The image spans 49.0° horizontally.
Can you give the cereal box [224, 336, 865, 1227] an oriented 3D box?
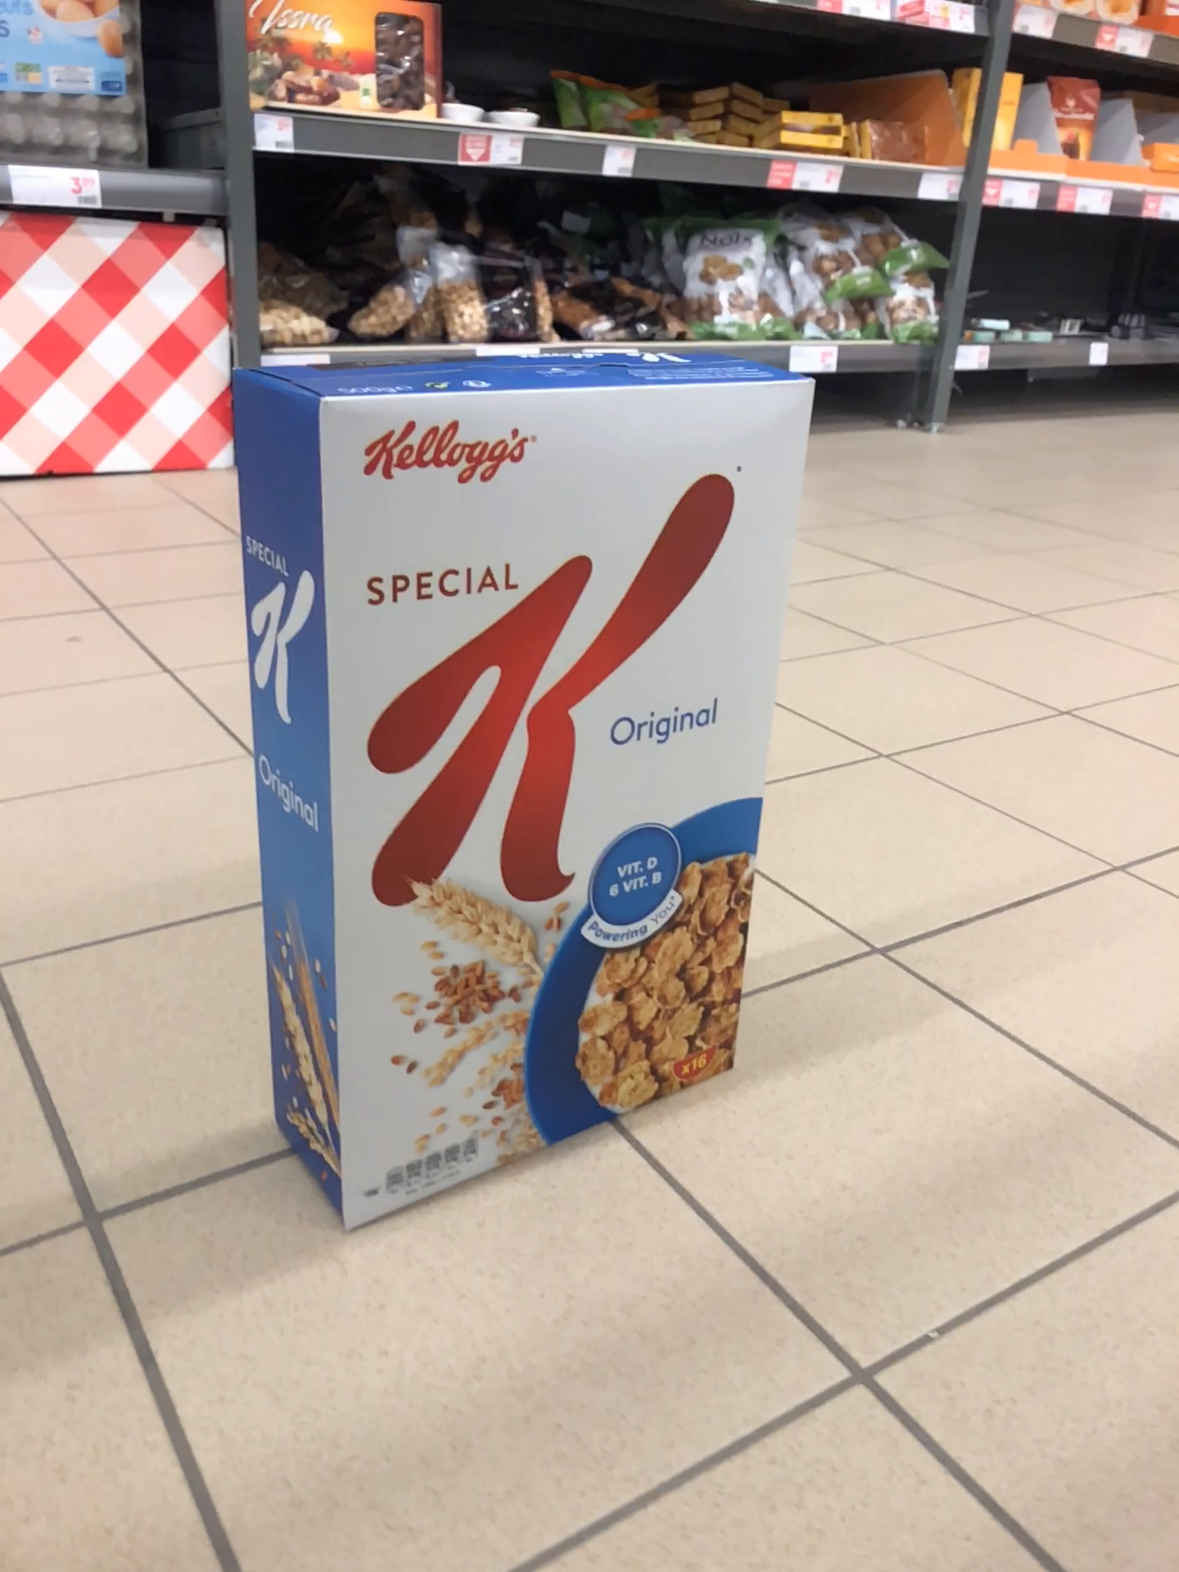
[{"bbox_3d":[-0.015,-0.010,0.492,0.211,0.298,0.070,-12,27,-32],"label":"cereal box"}]
